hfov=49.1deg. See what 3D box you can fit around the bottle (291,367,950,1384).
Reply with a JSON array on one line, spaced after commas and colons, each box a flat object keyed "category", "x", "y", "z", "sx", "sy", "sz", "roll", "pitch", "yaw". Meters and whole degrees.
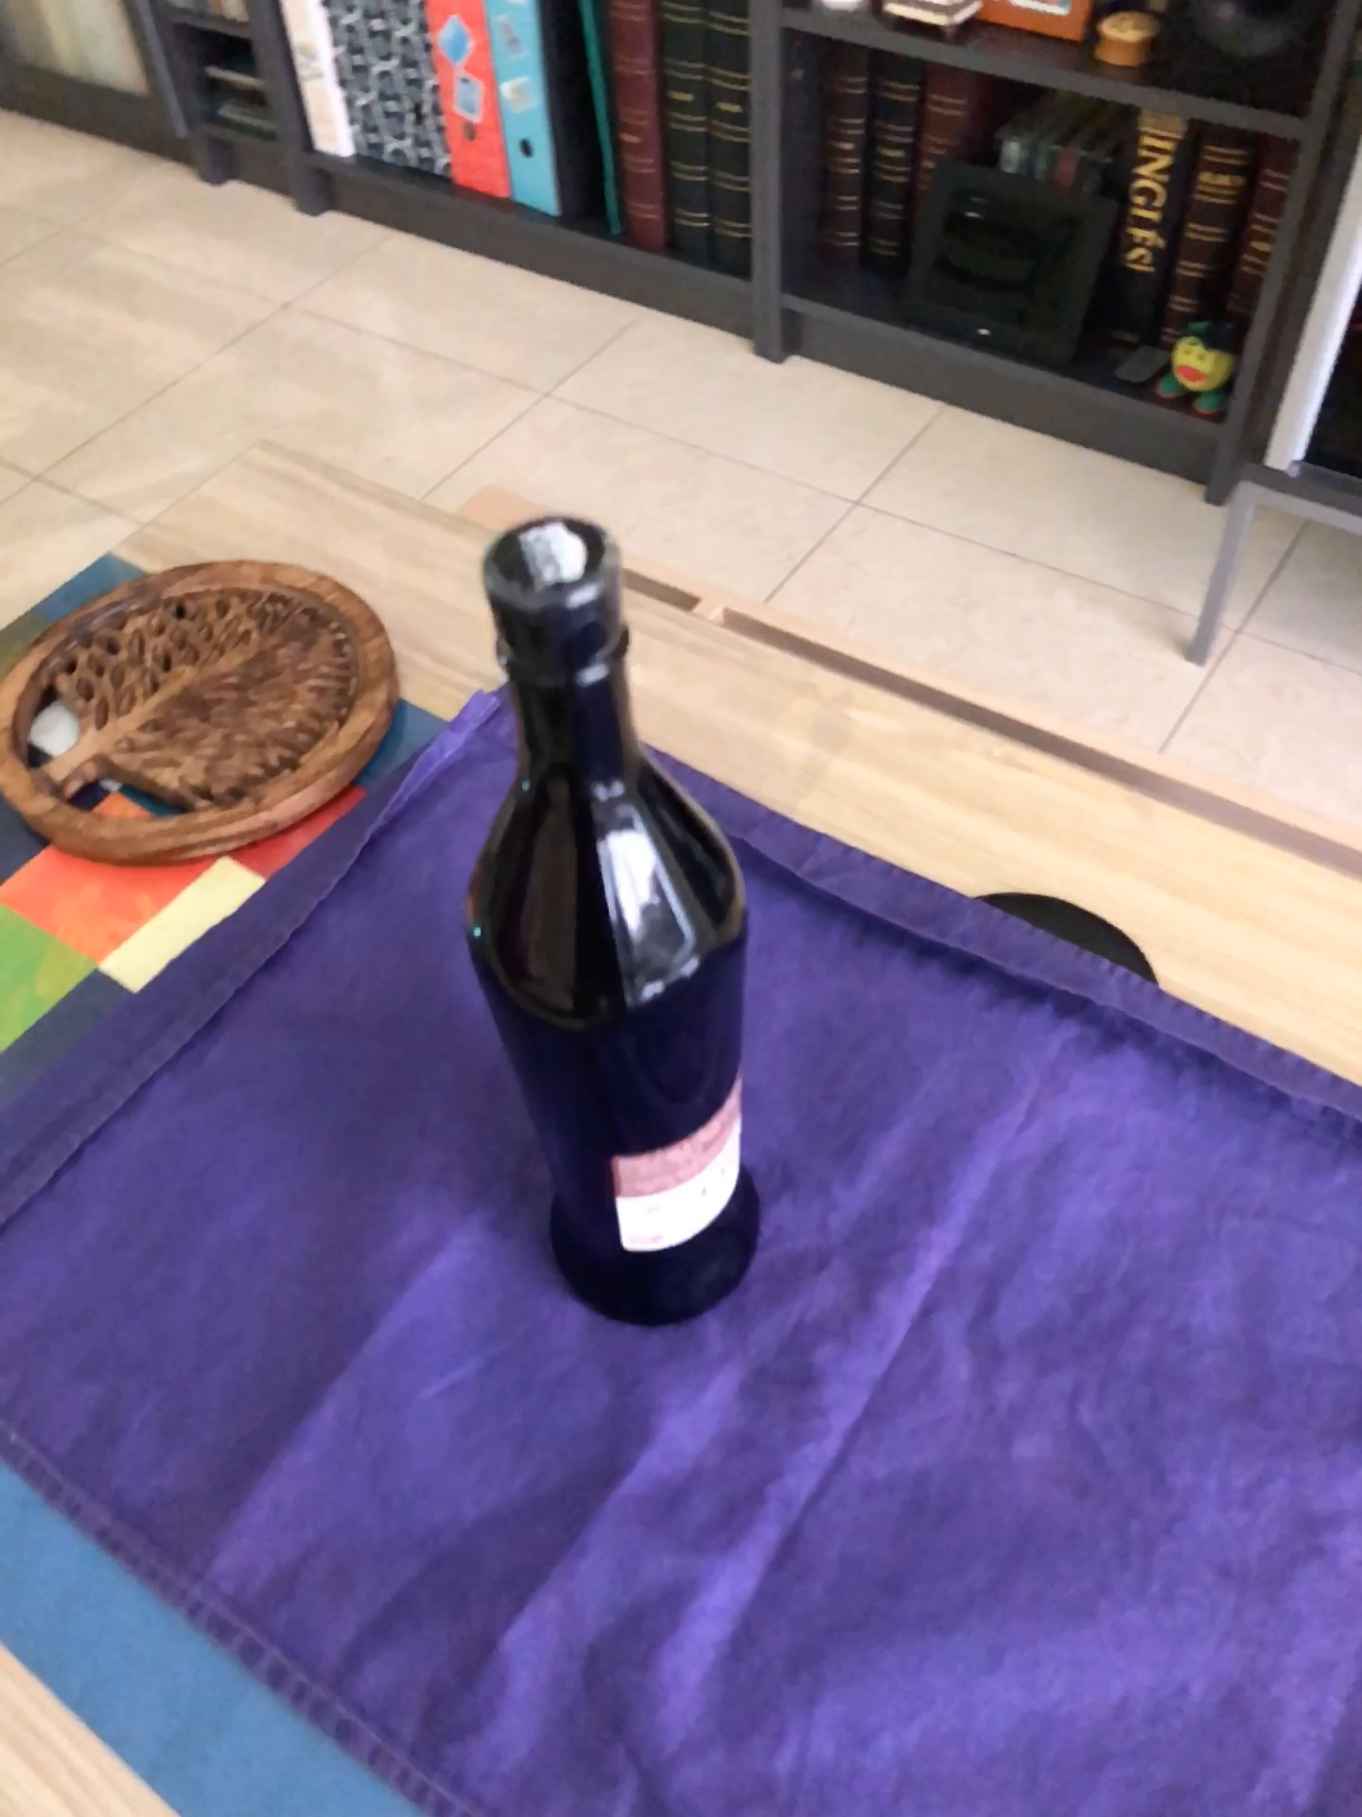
[{"category": "bottle", "x": -0.007, "y": 0.013, "z": 0.422, "sx": 0.100, "sy": 0.279, "sz": 0.100, "roll": -2, "pitch": 51, "yaw": 3}]
